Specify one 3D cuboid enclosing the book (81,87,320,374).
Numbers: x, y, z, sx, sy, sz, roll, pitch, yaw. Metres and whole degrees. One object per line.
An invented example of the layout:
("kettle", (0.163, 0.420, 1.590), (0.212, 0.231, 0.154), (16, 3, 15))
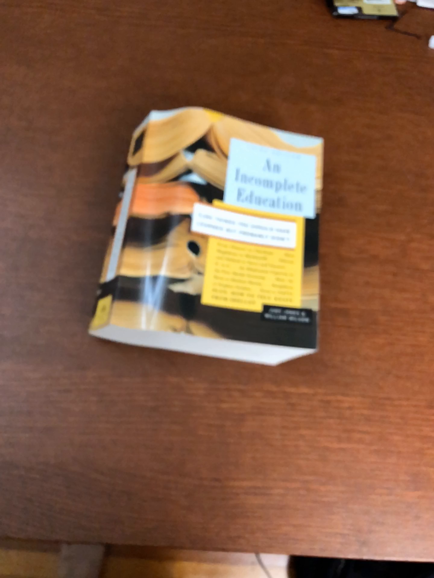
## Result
("book", (-0.007, -0.058, 0.491), (0.210, 0.060, 0.251), (10, 68, -12))
